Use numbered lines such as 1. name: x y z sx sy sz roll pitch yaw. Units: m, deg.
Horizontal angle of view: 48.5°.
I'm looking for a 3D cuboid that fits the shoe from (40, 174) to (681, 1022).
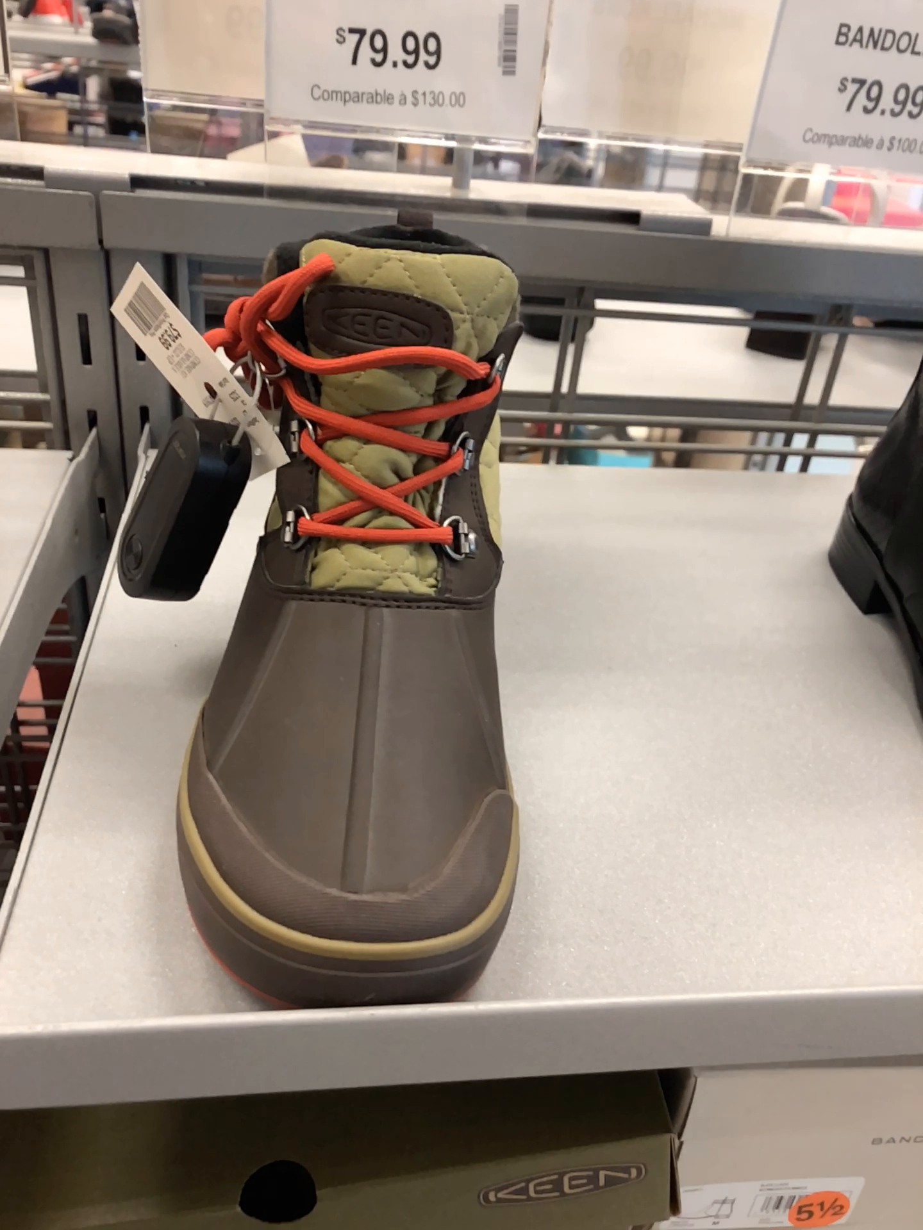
1. shoe: -0.035 -0.034 0.318 0.107 0.139 0.262 2 32 -8
